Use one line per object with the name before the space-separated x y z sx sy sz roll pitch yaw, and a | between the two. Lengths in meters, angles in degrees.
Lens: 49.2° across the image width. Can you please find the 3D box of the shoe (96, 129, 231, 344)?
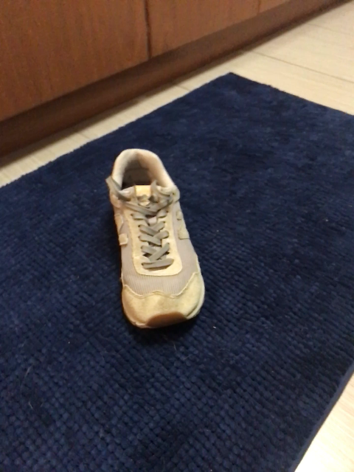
shoe | -0.031 -0.020 0.503 0.130 0.099 0.282 -6 45 -5
